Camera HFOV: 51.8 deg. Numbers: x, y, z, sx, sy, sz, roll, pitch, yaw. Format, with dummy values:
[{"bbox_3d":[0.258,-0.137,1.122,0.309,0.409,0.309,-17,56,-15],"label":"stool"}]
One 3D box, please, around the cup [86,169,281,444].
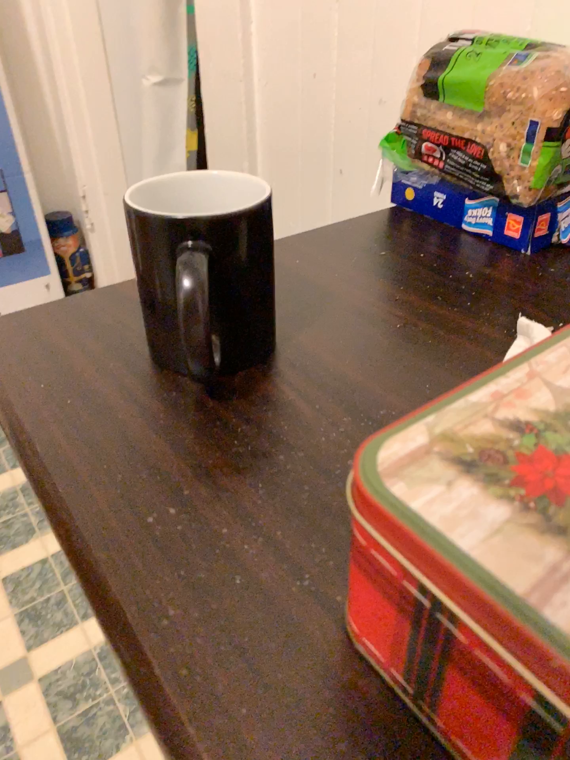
[{"bbox_3d":[-0.047,-0.047,0.329,0.080,0.099,0.131,-3,35,-3],"label":"cup"}]
